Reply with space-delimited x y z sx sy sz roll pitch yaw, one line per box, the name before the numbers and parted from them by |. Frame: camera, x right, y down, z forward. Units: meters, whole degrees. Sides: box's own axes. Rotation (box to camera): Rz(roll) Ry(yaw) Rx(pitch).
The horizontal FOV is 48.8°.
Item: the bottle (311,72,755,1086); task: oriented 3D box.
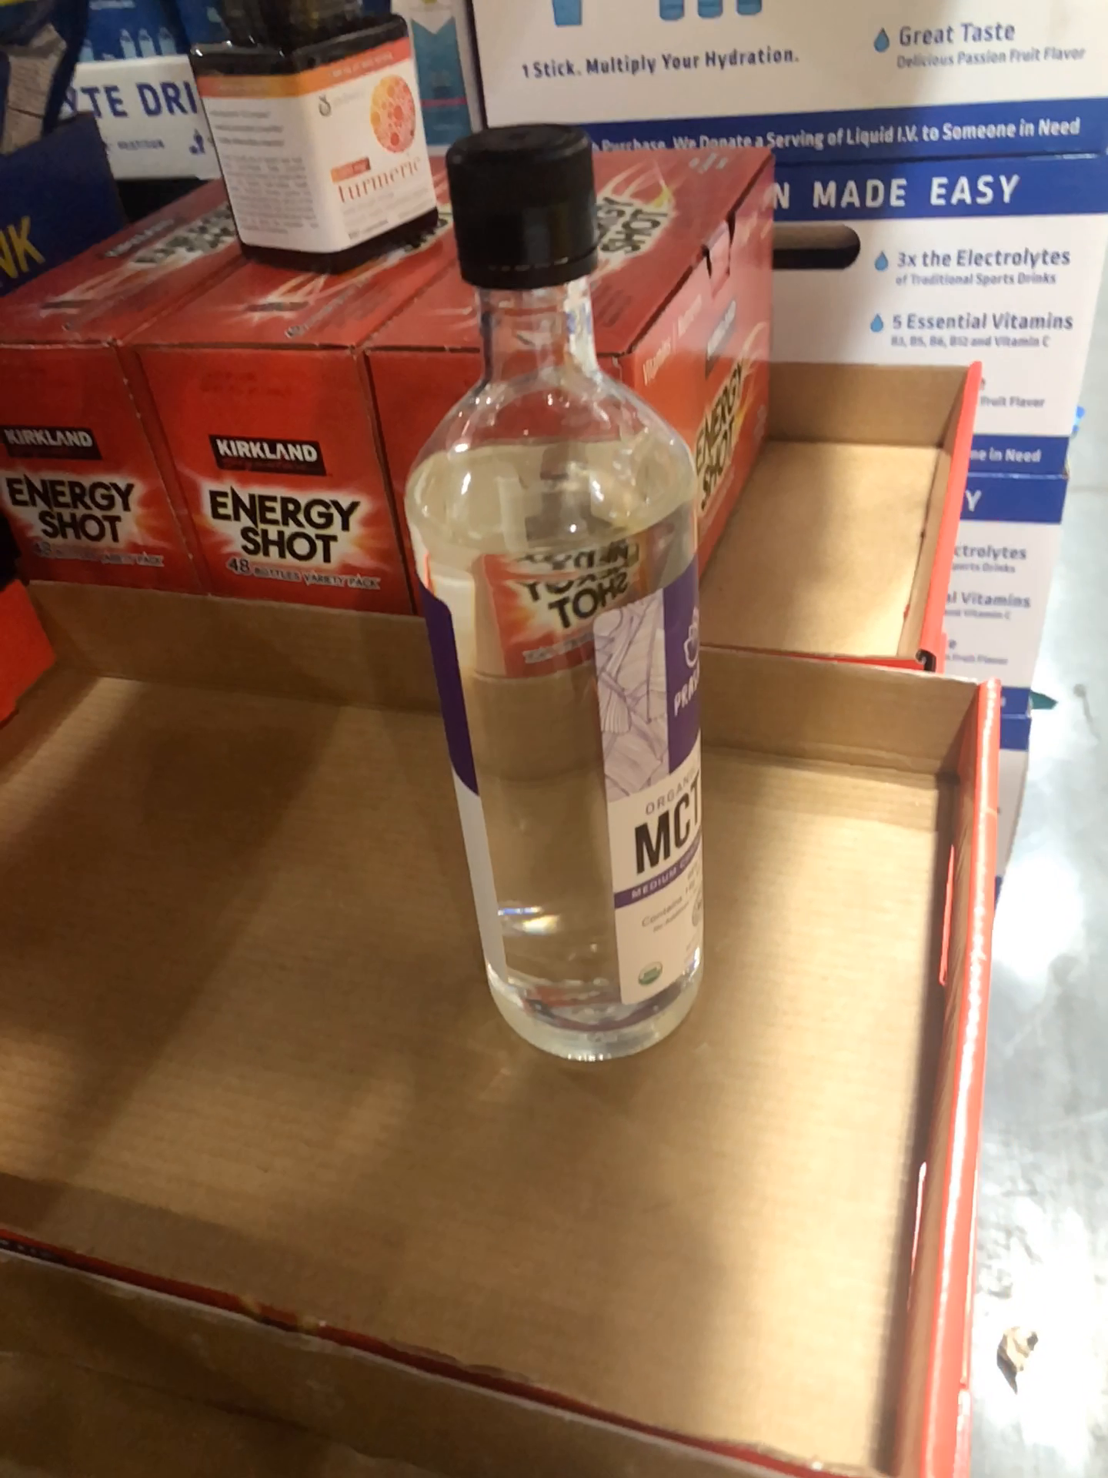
bottle | 0.012 -0.025 0.362 0.080 0.290 0.078 -4 38 3
